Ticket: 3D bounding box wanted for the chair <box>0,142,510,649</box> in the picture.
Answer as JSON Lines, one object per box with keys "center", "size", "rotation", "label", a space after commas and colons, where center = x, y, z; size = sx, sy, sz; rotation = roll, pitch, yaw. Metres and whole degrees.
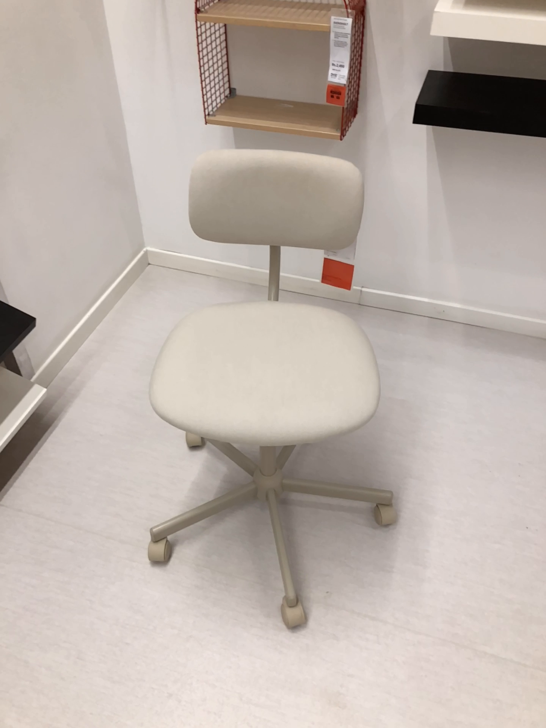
{"center": [-0.003, 0.062, 1.261], "size": [0.640, 0.765, 0.695], "rotation": [3, 43, 3], "label": "chair"}
